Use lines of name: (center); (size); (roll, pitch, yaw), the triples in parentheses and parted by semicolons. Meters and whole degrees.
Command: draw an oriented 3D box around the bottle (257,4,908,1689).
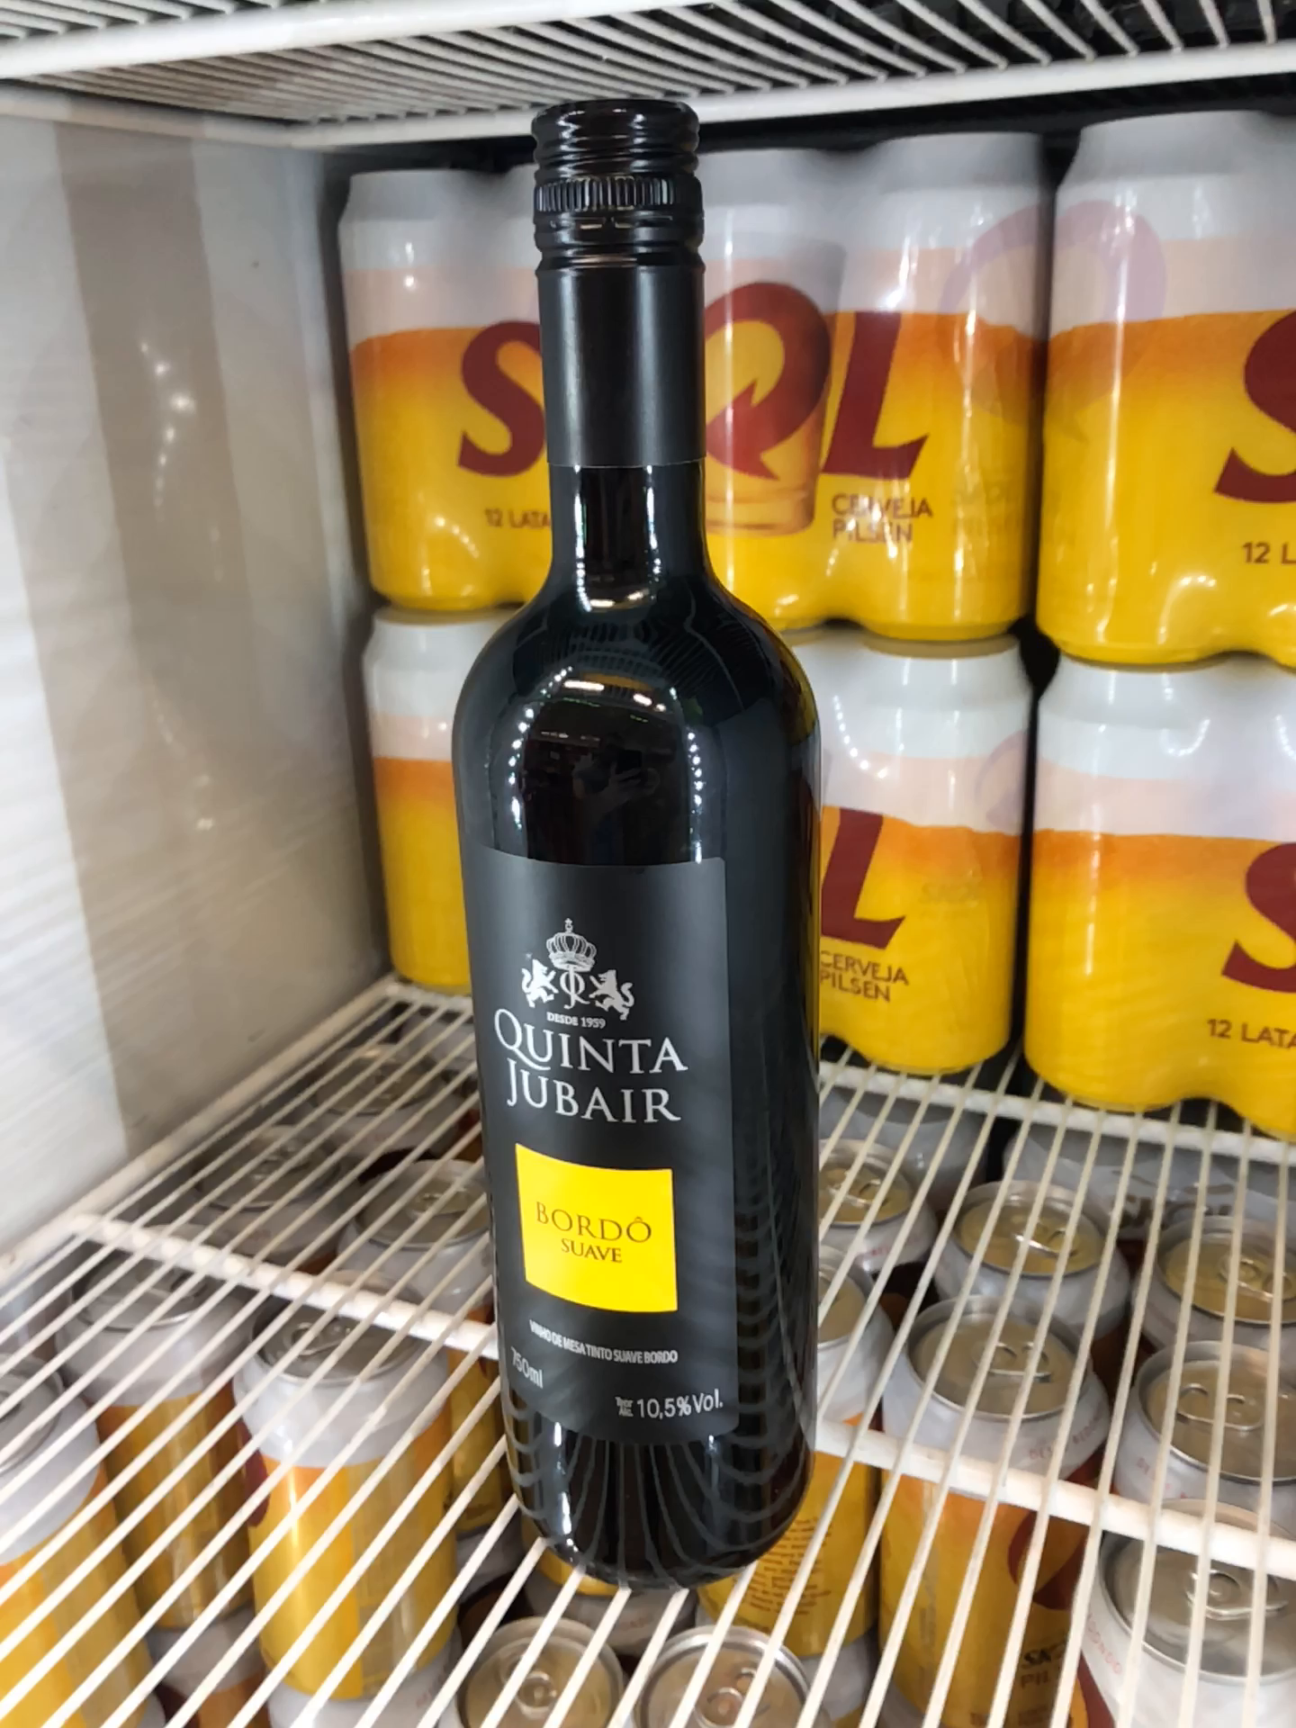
bottle: (0.000, 0.010, 0.278); (0.080, 0.288, 0.070); (7, 22, 24)
